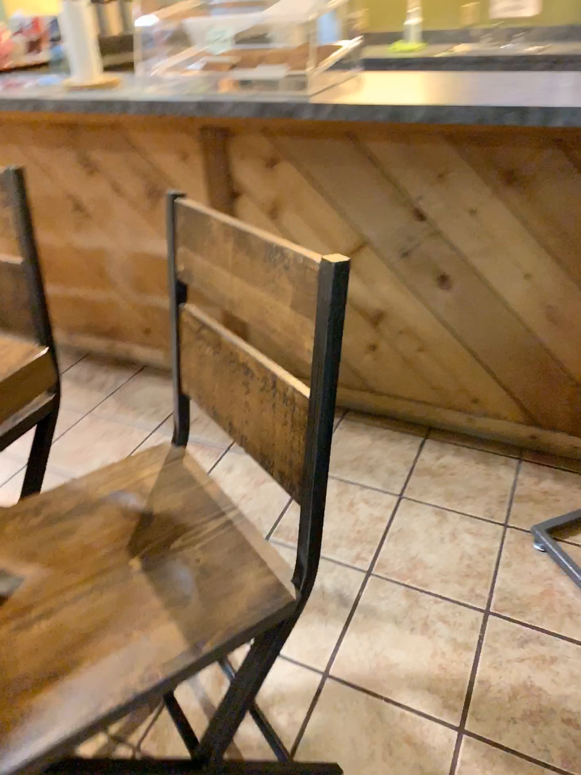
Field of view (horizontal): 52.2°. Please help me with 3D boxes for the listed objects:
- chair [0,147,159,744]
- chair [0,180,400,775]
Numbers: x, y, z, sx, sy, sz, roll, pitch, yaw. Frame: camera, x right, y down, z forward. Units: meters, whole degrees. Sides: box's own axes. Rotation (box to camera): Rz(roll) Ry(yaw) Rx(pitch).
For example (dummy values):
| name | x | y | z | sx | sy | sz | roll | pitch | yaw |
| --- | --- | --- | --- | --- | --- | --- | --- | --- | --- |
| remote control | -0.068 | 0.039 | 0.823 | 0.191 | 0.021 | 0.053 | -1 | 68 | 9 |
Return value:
| name | x | y | z | sx | sy | sz | roll | pitch | yaw |
| --- | --- | --- | --- | --- | --- | --- | --- | --- | --- |
| chair | -0.757 | 0.110 | 1.249 | 0.493 | 1.002 | 0.618 | 12 | 39 | 22 |
| chair | -0.224 | 0.296 | 0.904 | 0.616 | 0.983 | 0.444 | -24 | 37 | -23 |
